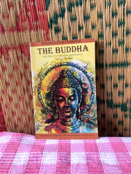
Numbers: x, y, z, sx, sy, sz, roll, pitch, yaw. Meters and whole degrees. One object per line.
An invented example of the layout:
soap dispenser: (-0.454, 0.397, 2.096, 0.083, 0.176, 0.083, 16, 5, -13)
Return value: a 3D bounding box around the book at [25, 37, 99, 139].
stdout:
book: (-0.007, 0.005, 0.314, 0.146, 0.207, 0.030, -2, 3, 6)
